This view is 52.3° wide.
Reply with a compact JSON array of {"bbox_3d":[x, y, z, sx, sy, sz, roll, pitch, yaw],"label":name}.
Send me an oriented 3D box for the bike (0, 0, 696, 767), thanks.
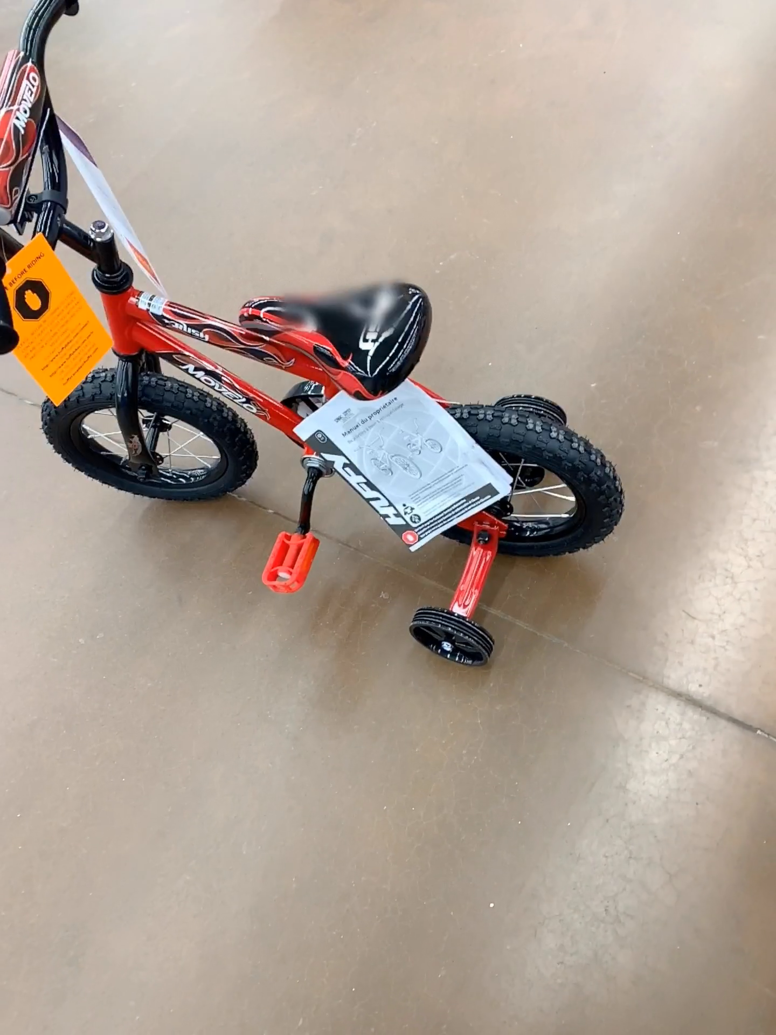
[{"bbox_3d":[-0.137,-0.139,0.750,0.704,0.627,0.458,8,60,13],"label":"bike"}]
